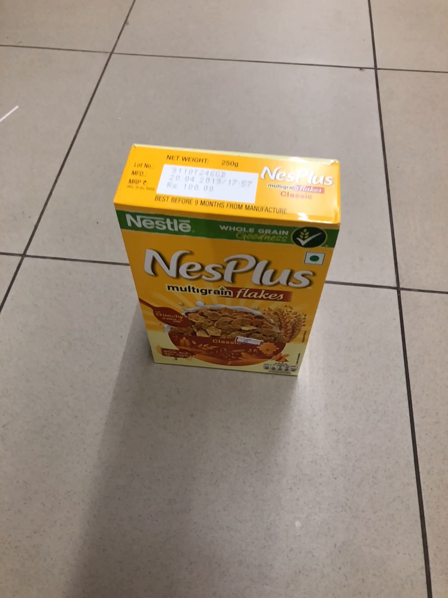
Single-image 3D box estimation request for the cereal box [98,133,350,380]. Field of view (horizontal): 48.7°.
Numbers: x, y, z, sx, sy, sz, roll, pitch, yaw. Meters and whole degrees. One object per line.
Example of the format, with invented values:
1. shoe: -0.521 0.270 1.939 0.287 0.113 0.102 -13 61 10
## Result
1. cereal box: 0.002 -0.017 0.373 0.140 0.199 0.060 5 56 3
